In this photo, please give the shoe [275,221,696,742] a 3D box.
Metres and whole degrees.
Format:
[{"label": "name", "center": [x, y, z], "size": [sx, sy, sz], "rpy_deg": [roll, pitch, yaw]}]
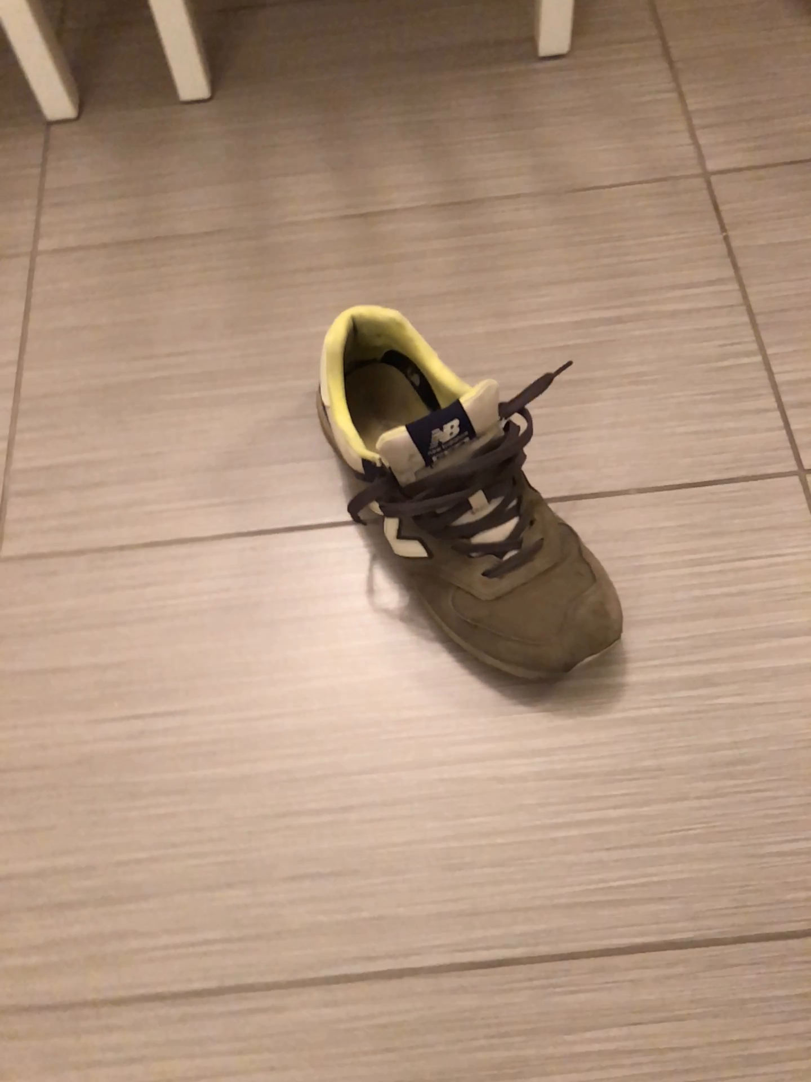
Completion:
[{"label": "shoe", "center": [0.040, -0.047, 0.594], "size": [0.130, 0.110, 0.311], "rpy_deg": [-24, 65, -6]}]
